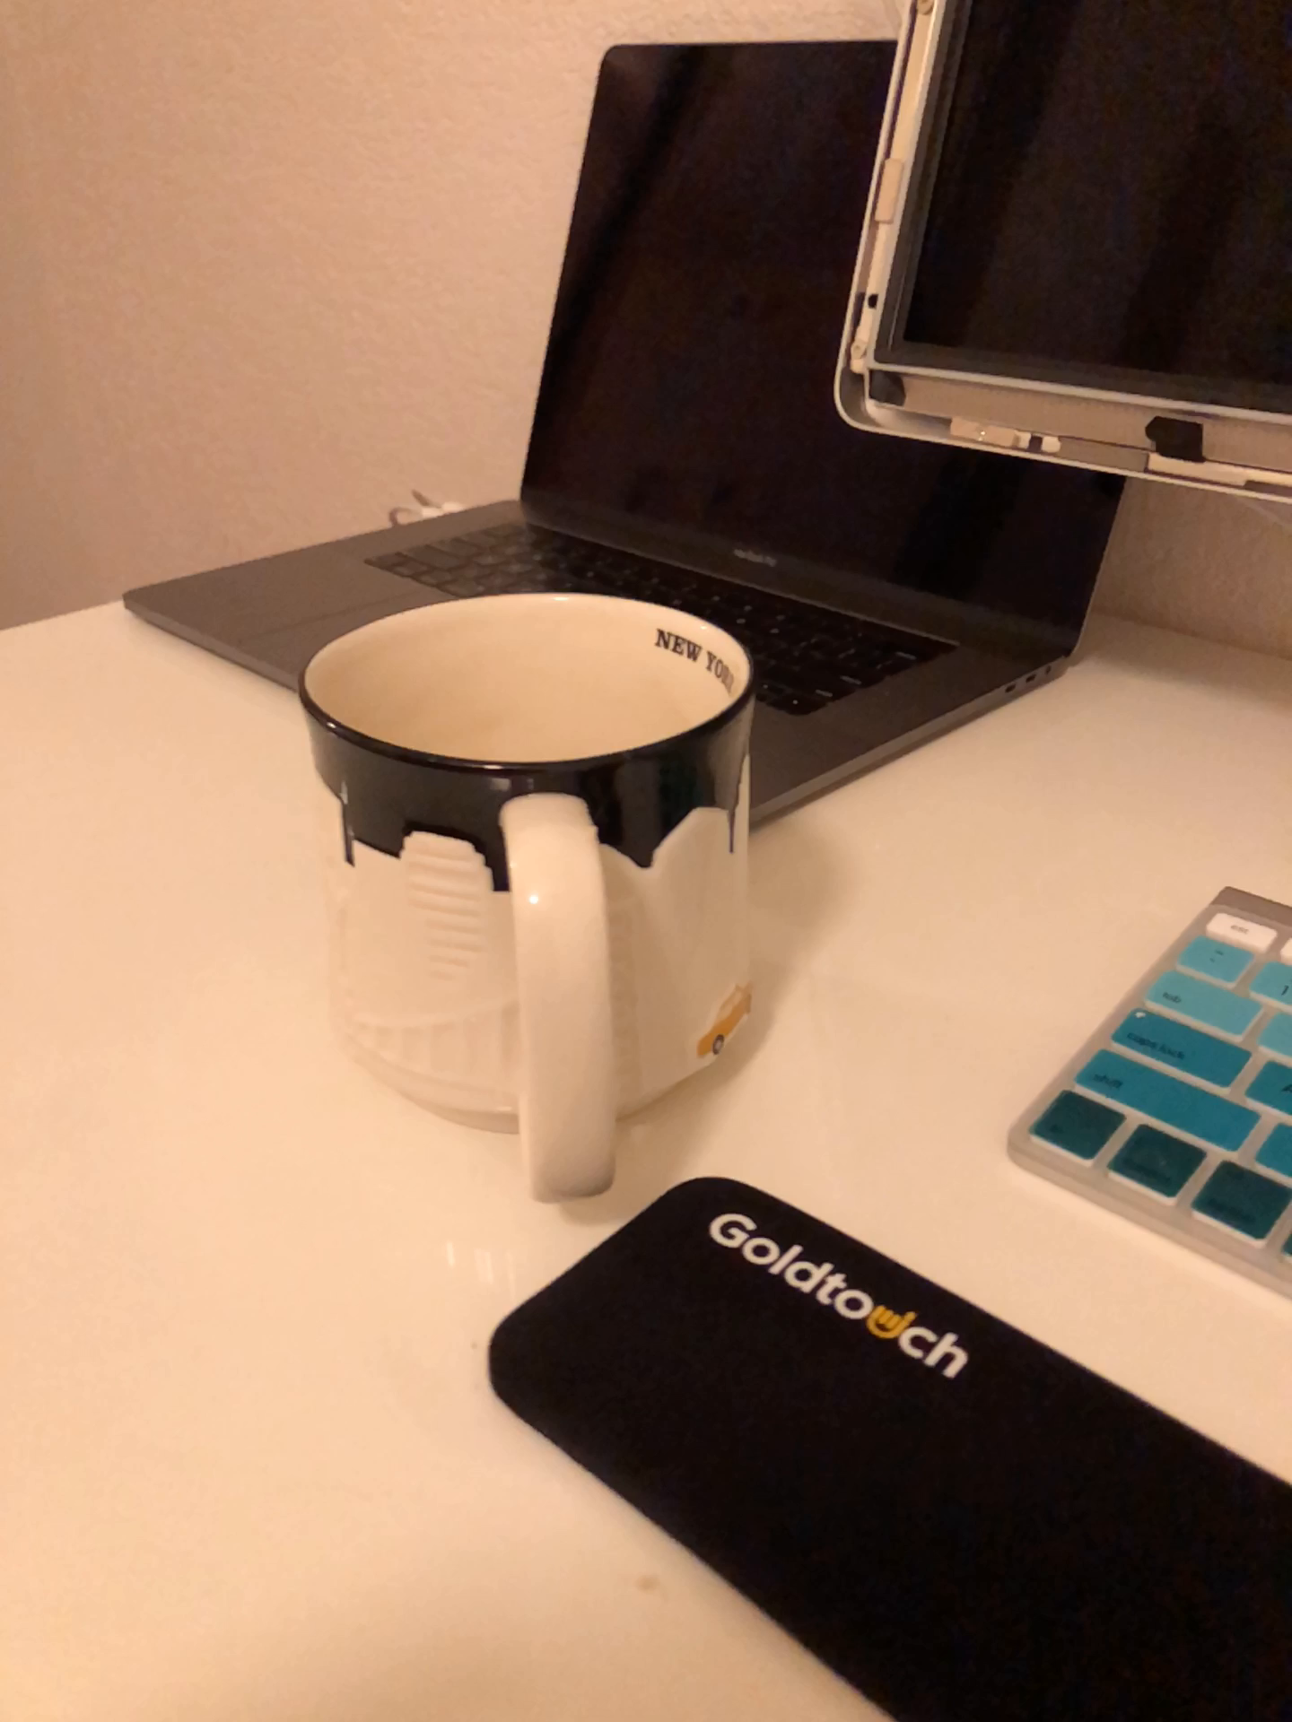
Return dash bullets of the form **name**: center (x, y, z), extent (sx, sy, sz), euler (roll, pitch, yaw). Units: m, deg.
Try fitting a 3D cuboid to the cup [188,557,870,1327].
- **cup**: center (-0.033, 0.002, 0.318), extent (0.110, 0.089, 0.161), euler (-6, 29, -10)
